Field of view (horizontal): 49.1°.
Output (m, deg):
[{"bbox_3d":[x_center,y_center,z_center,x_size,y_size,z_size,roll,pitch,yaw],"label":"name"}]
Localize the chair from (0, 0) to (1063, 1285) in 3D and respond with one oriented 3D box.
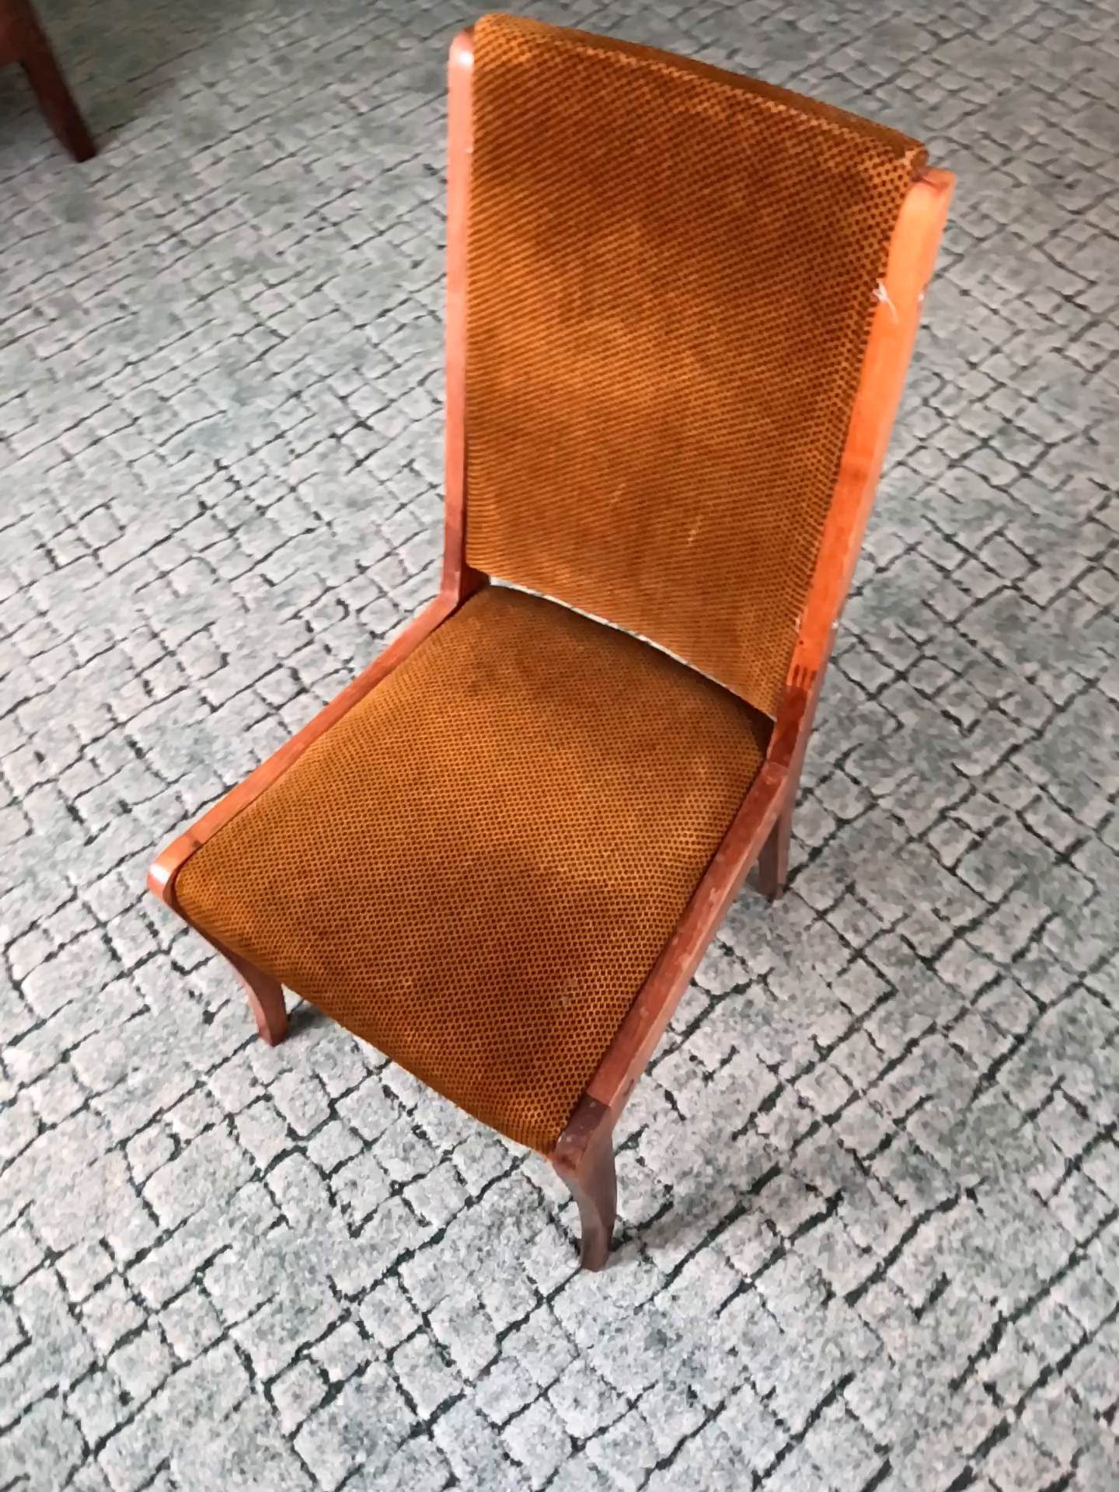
[{"bbox_3d":[-0.046,0.000,1.006,0.471,0.925,0.530,28,65,20],"label":"chair"}]
